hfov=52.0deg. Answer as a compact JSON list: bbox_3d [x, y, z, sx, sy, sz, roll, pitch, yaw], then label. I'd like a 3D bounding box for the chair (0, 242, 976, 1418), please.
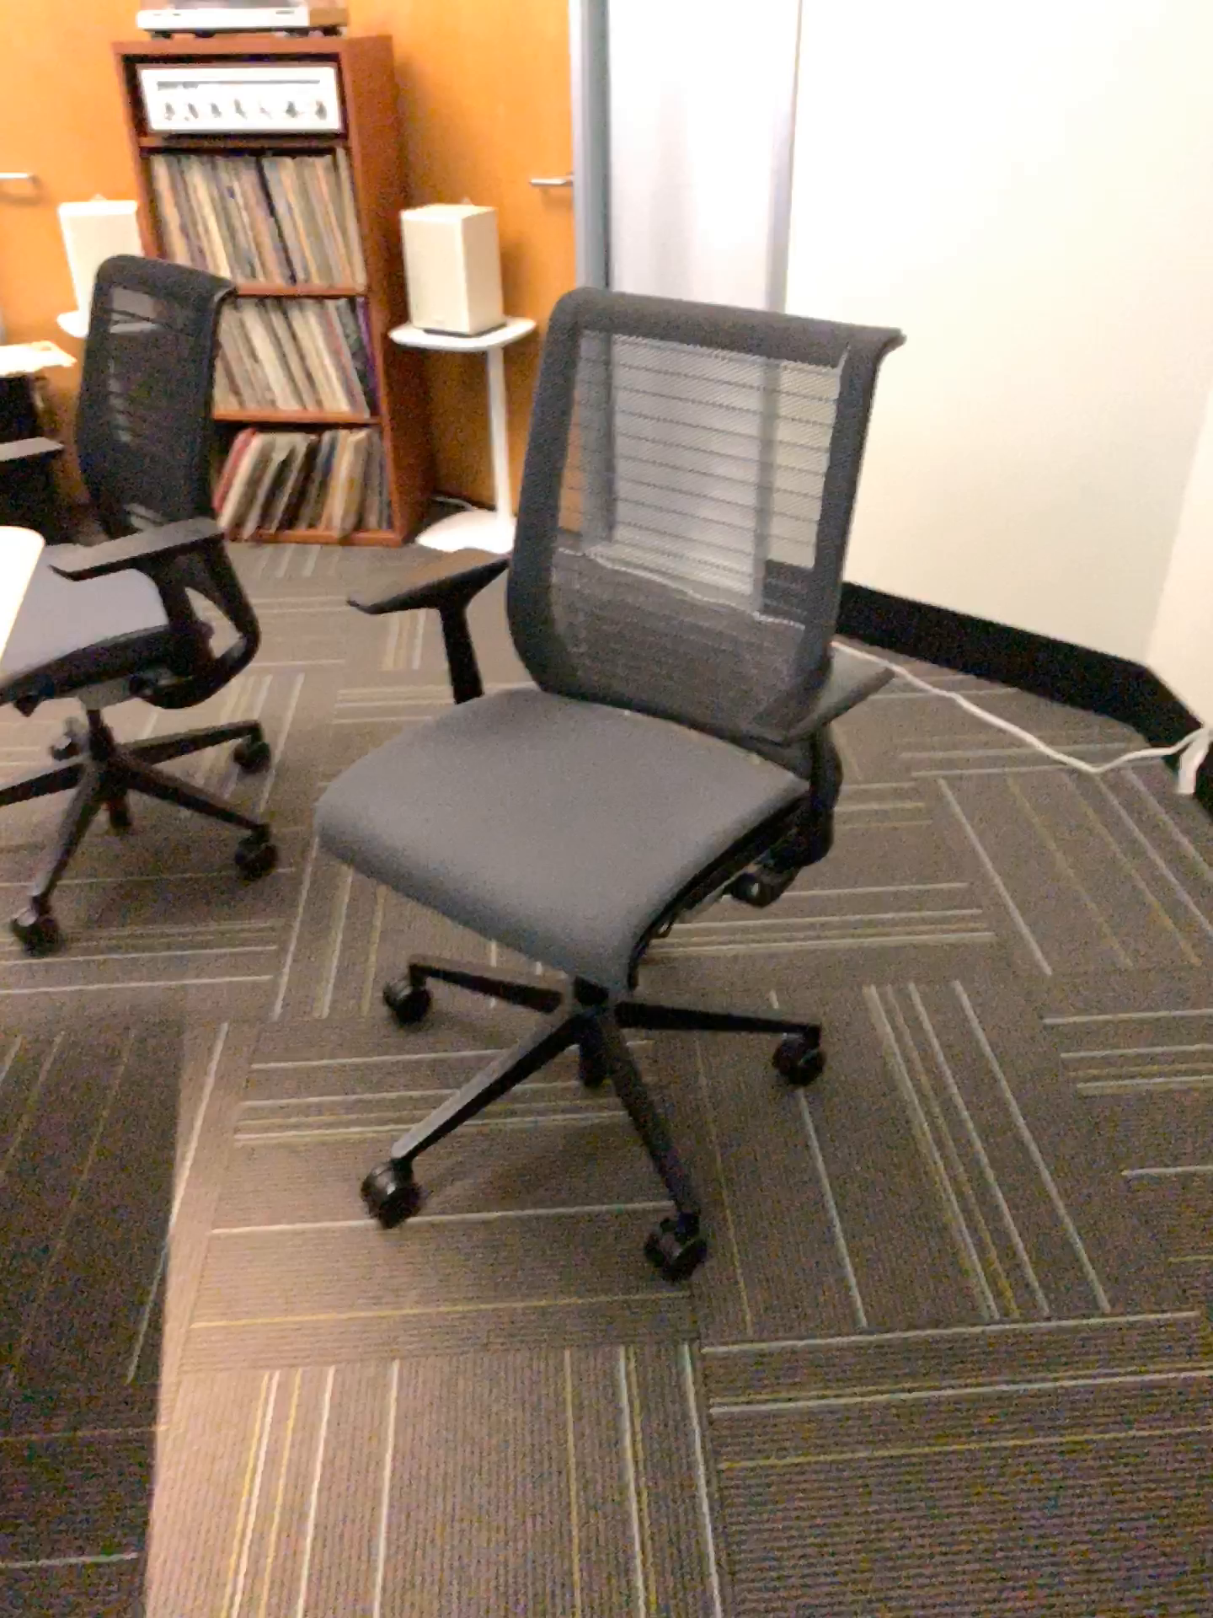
[{"bbox_3d":[-0.119,-0.048,1.636,0.792,1.113,0.802,19,38,28],"label":"chair"}]
